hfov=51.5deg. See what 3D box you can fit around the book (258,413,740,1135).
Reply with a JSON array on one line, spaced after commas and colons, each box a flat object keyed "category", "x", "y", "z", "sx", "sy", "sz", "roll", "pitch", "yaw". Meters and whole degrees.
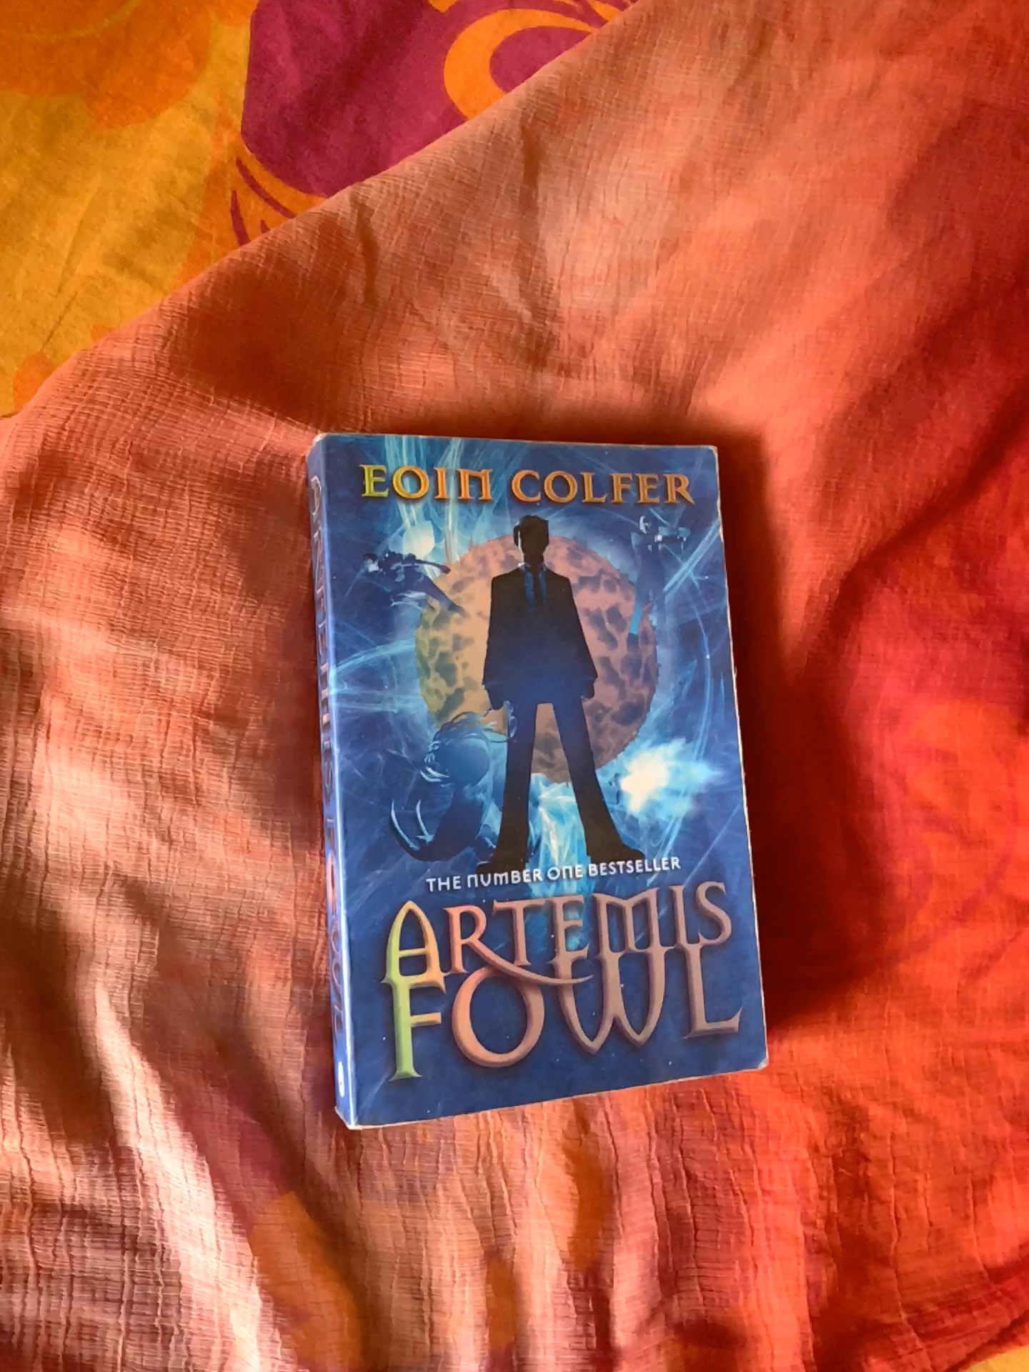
[{"category": "book", "x": -0.005, "y": 0.021, "z": 0.312, "sx": 0.130, "sy": 0.030, "sz": 0.190, "roll": -2, "pitch": 87, "yaw": -15}]
